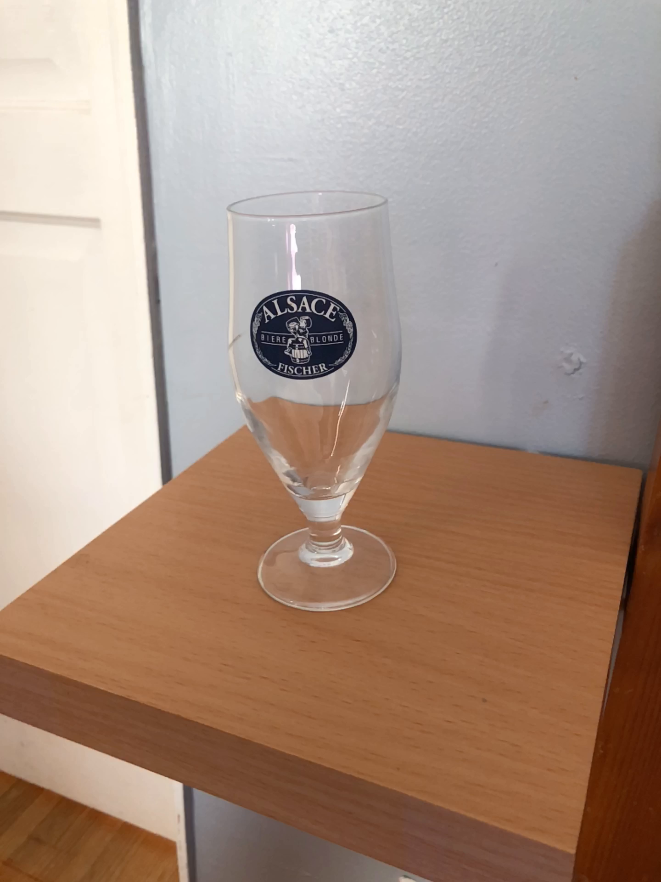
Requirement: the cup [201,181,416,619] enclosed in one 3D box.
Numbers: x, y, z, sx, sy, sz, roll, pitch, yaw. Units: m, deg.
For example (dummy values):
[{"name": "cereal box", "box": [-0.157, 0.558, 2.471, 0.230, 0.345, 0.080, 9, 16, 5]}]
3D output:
[{"name": "cup", "box": [-0.001, -0.016, 0.308, 0.068, 0.166, 0.068, -3, 24, 1]}]
